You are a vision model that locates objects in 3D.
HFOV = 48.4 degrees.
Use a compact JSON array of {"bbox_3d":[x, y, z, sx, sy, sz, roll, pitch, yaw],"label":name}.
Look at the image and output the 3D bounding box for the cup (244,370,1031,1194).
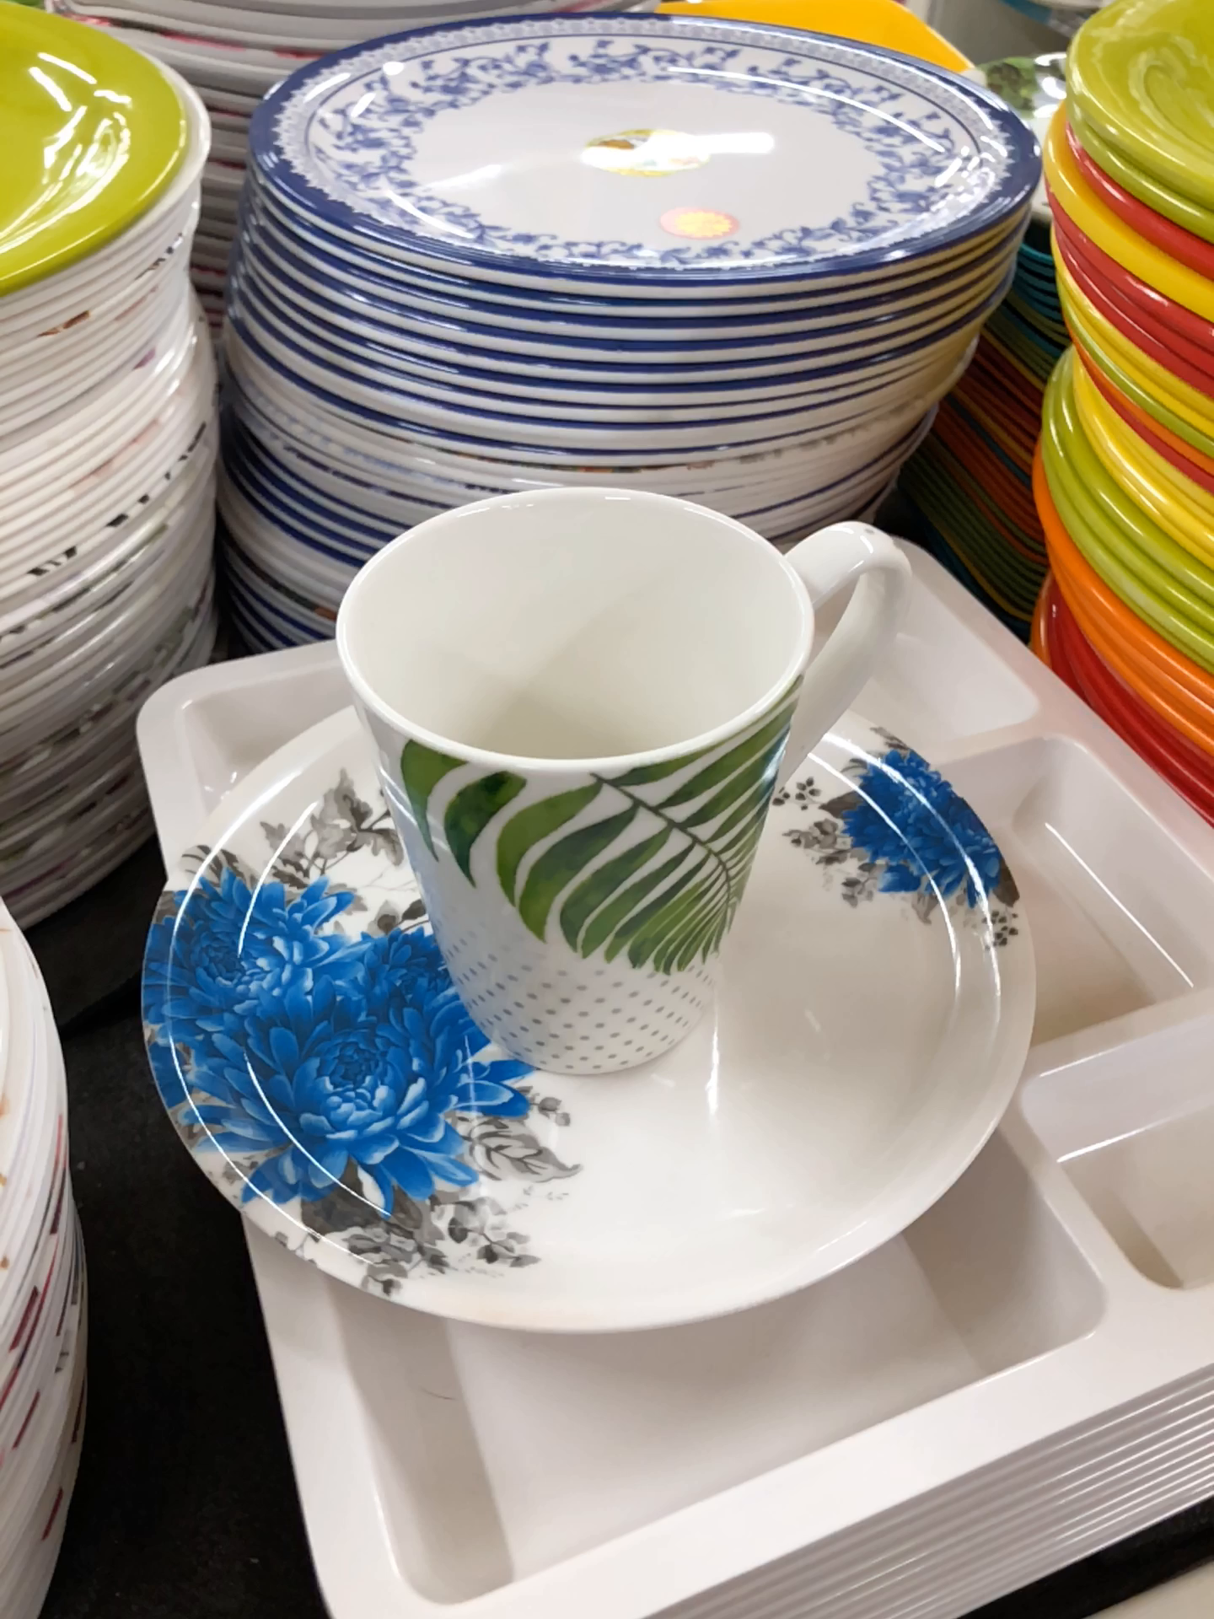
[{"bbox_3d":[0.009,-0.012,0.267,0.080,0.089,0.121,31,51,27],"label":"cup"}]
